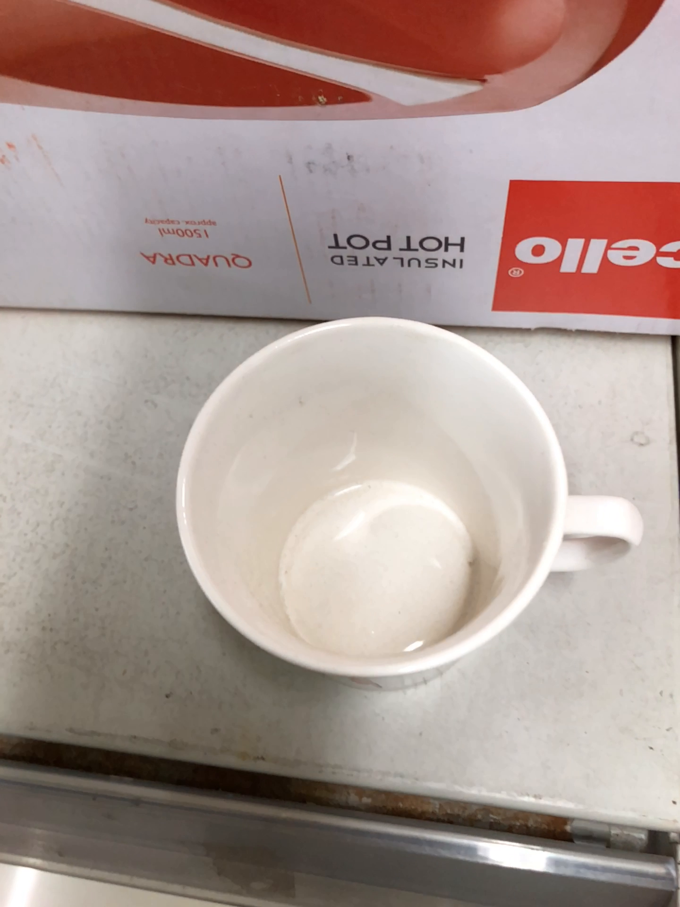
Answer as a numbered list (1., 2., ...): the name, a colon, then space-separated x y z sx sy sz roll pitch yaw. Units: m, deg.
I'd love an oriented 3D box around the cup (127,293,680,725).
1. cup: 0.017 0.018 0.171 0.100 0.070 0.070 -3 64 4
